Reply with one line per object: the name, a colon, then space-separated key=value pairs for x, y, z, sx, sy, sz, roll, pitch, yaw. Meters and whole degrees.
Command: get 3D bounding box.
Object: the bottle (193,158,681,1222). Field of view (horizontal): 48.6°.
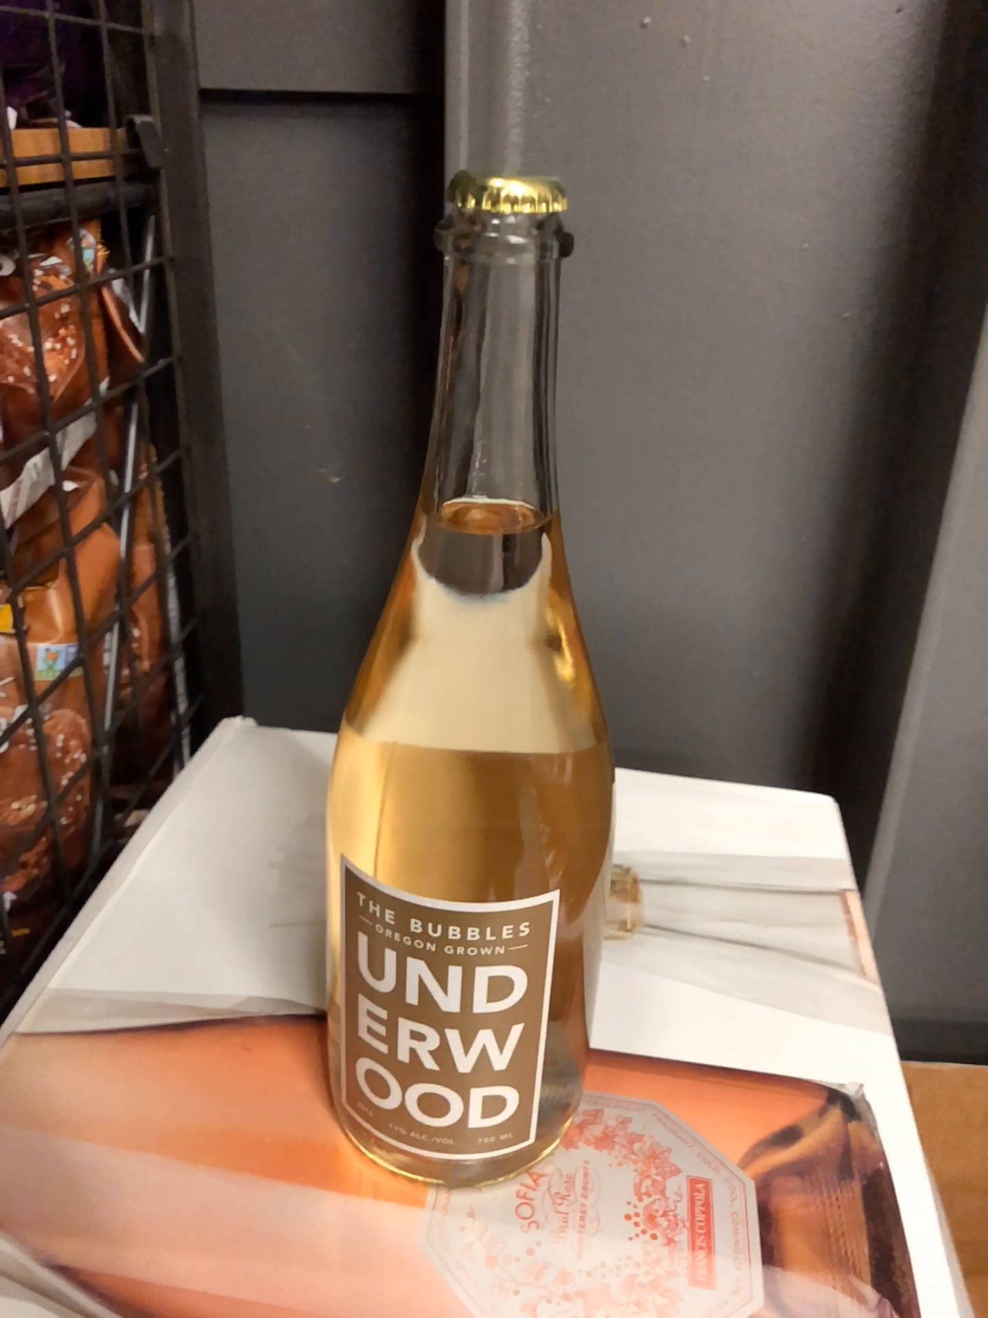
bottle: x=-0.010 y=0.017 z=0.334 sx=0.099 sy=0.304 sz=0.096 roll=1 pitch=26 yaw=-1
